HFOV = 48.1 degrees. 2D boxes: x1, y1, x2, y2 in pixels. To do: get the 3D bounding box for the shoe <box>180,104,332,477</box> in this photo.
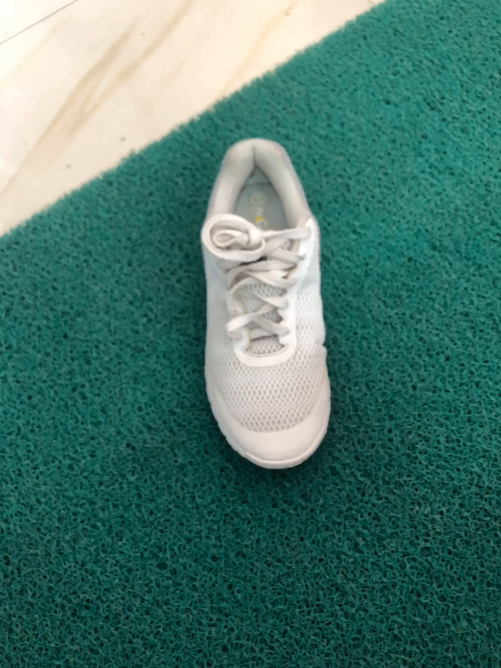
[{"bbox_3d":[0.009,-0.037,0.466,0.100,0.100,0.290,-2,68,6],"label":"shoe"}]
